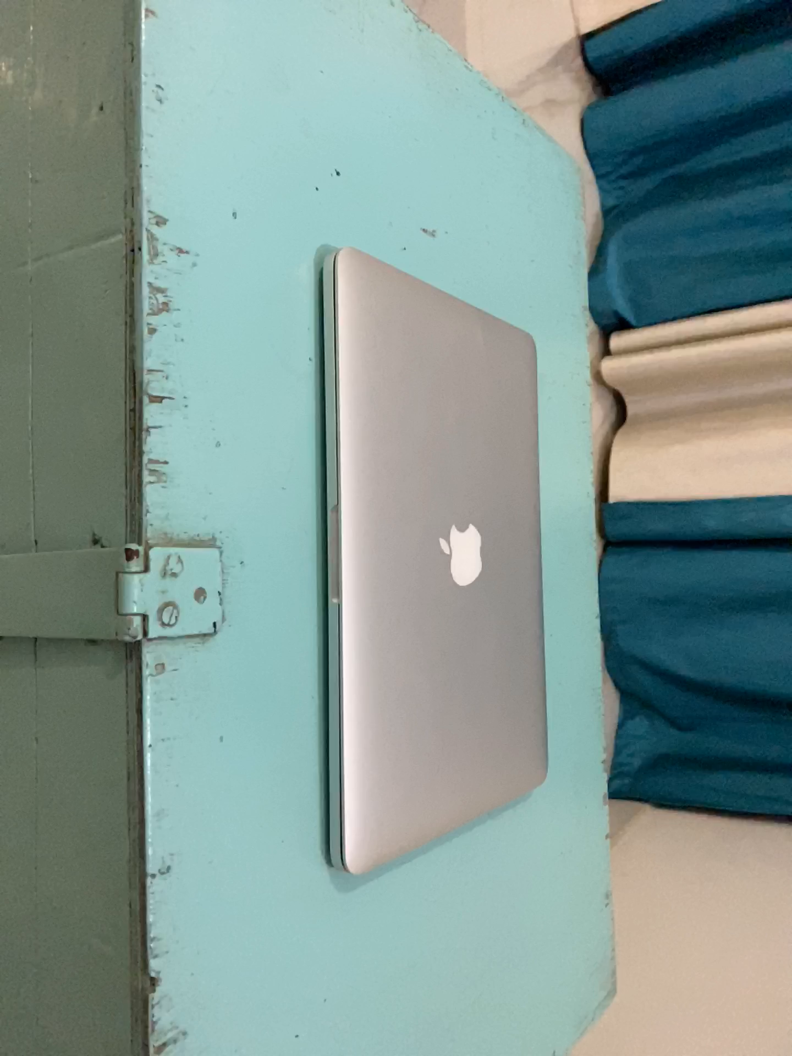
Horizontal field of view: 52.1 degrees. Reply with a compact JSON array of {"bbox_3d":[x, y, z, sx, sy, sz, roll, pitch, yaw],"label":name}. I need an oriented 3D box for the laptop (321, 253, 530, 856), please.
[{"bbox_3d":[0.028,0.015,0.480,0.210,0.007,0.291,1,88,-56],"label":"laptop"}]
